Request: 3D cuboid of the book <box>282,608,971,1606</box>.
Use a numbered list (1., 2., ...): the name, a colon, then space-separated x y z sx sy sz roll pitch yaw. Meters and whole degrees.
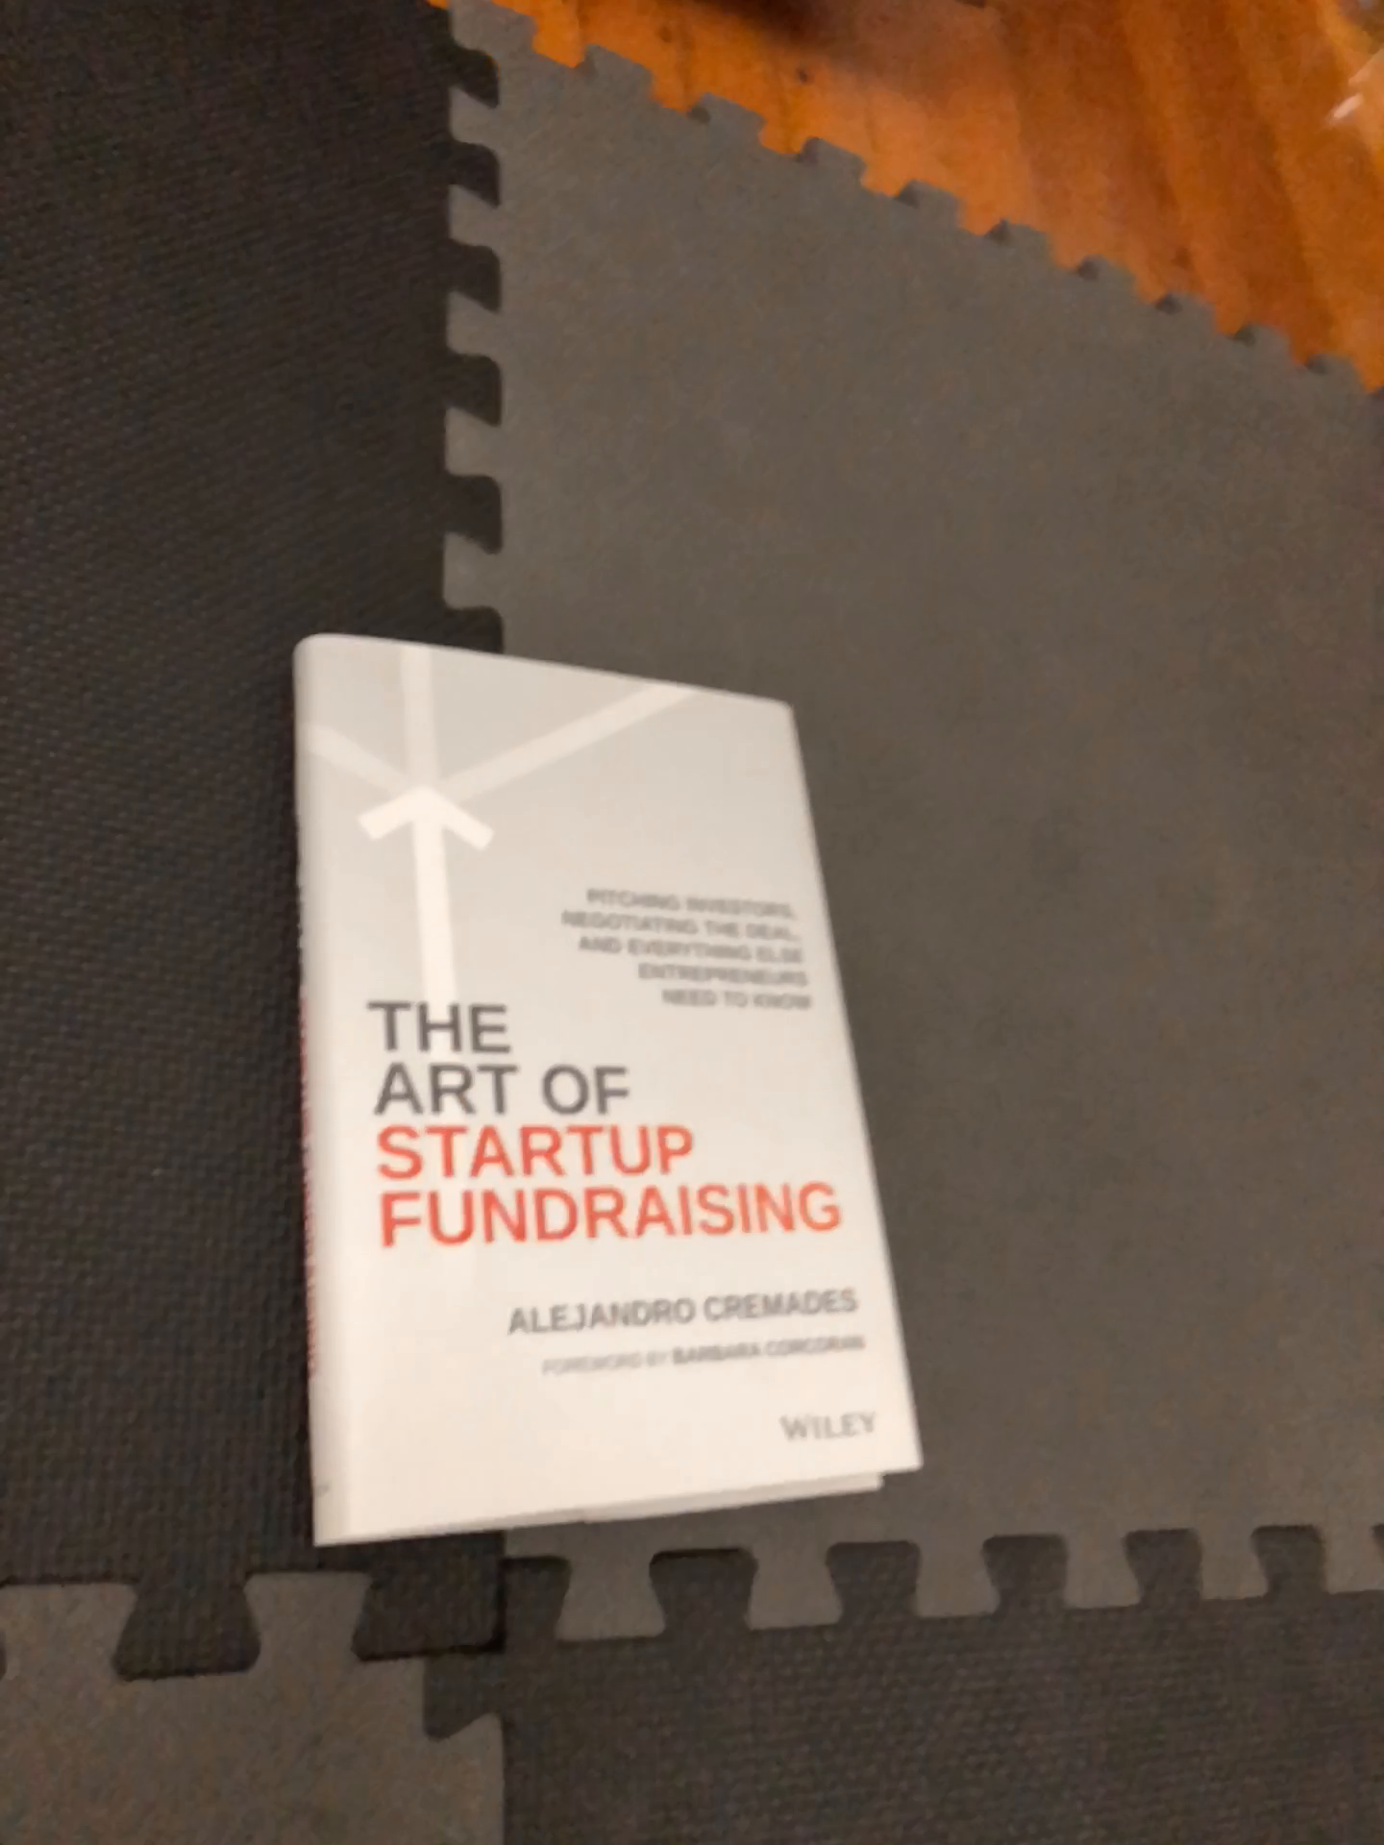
1. book: -0.023 0.042 0.426 0.170 0.030 0.251 6 63 -28
